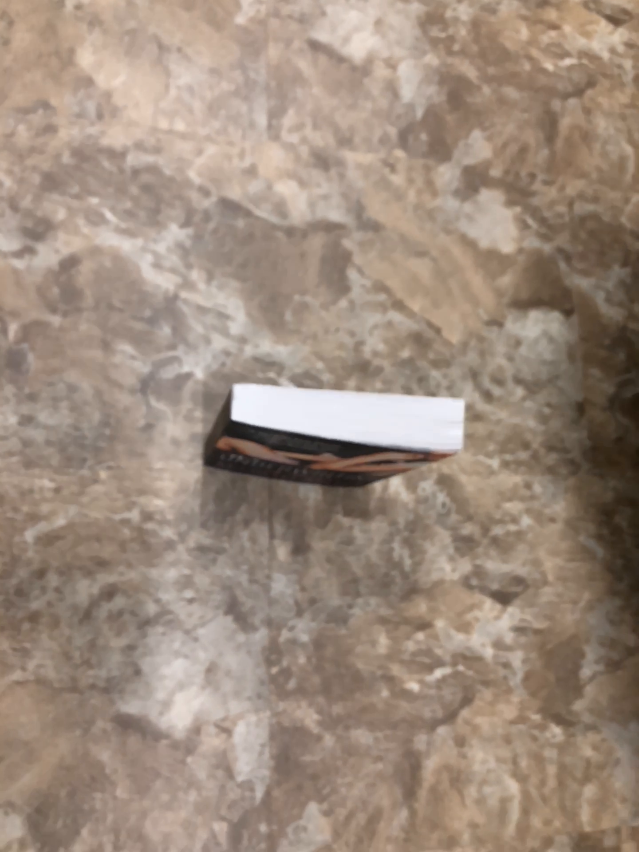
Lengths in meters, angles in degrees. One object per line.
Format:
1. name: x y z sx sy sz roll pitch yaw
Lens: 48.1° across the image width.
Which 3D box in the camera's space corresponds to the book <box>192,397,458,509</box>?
1. book: -0.011 0.027 0.498 0.140 0.204 0.035 7 78 -12
